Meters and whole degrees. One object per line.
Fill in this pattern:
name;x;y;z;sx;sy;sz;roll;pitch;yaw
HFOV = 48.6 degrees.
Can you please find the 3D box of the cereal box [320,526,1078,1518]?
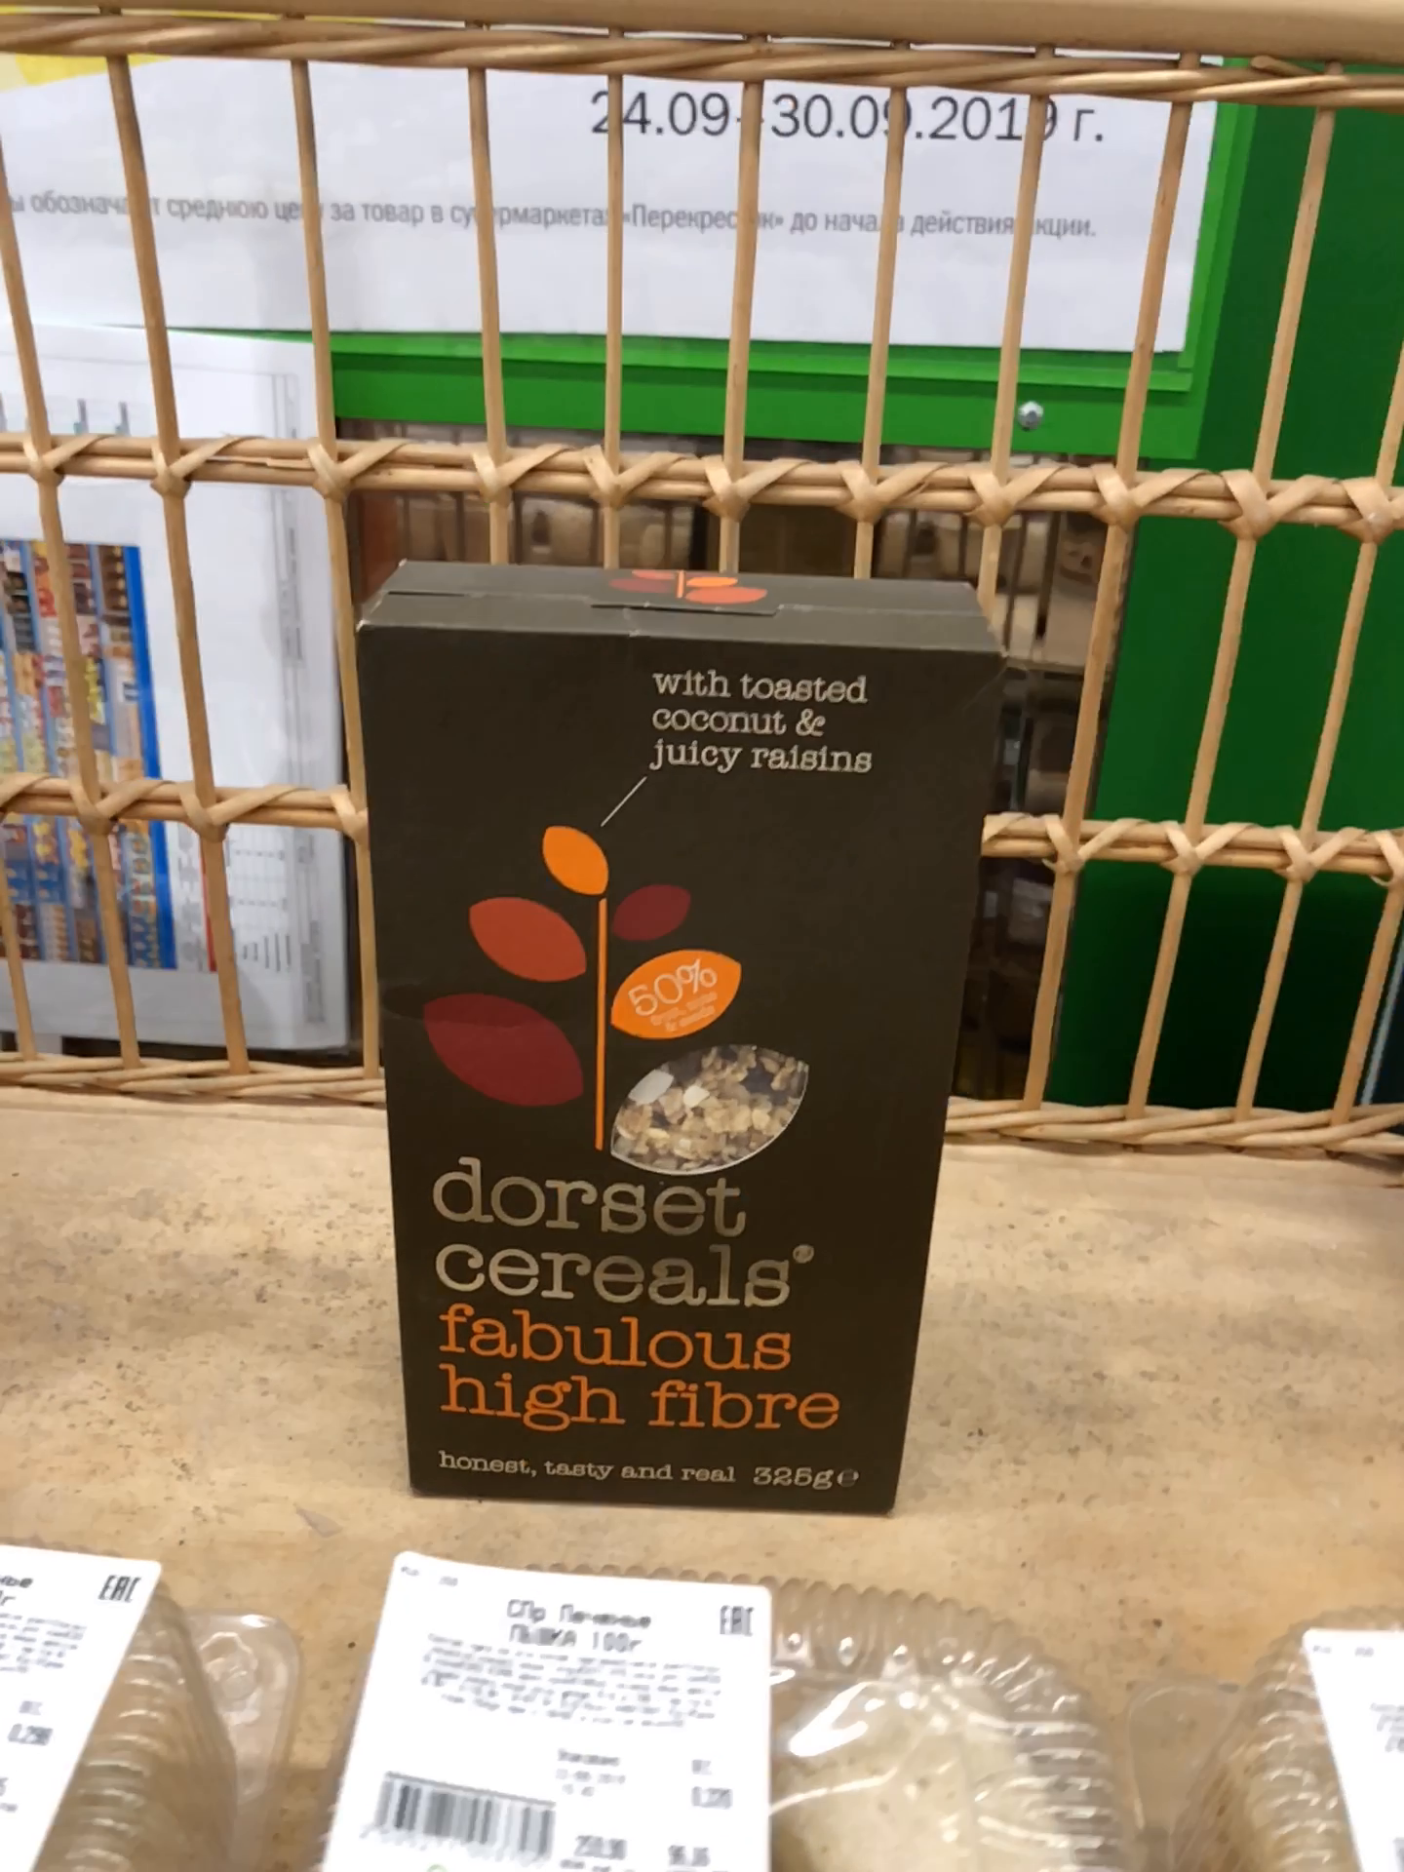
cereal box;-0.004;0.026;0.334;0.130;0.209;0.050;3;26;0
